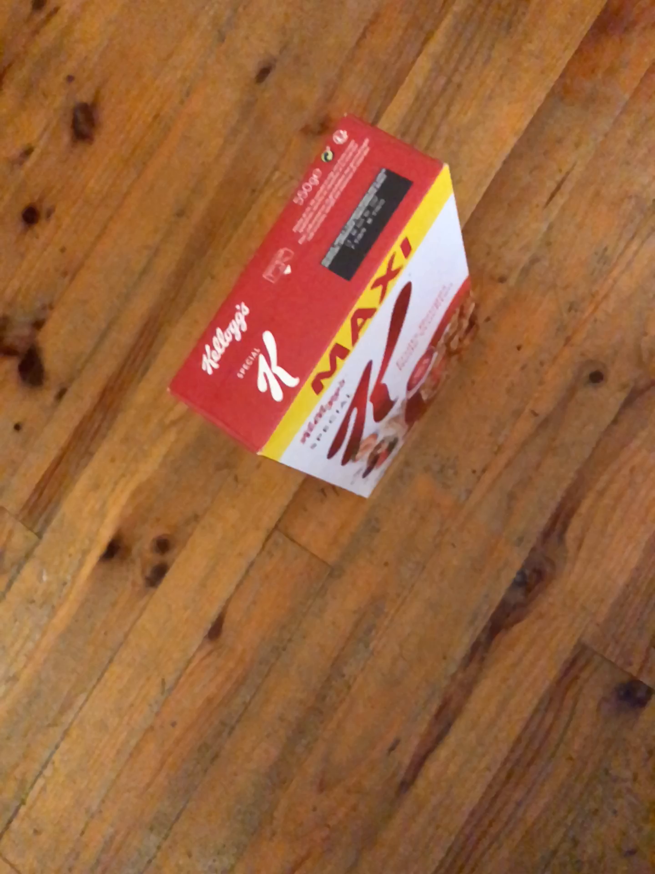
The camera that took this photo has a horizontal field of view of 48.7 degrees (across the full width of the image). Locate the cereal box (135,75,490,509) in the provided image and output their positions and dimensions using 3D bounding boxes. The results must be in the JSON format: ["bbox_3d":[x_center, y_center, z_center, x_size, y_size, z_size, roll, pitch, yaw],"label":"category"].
[{"bbox_3d":[0.020,-0.070,0.534,0.090,0.290,0.210,33,90,17],"label":"cereal box"}]
